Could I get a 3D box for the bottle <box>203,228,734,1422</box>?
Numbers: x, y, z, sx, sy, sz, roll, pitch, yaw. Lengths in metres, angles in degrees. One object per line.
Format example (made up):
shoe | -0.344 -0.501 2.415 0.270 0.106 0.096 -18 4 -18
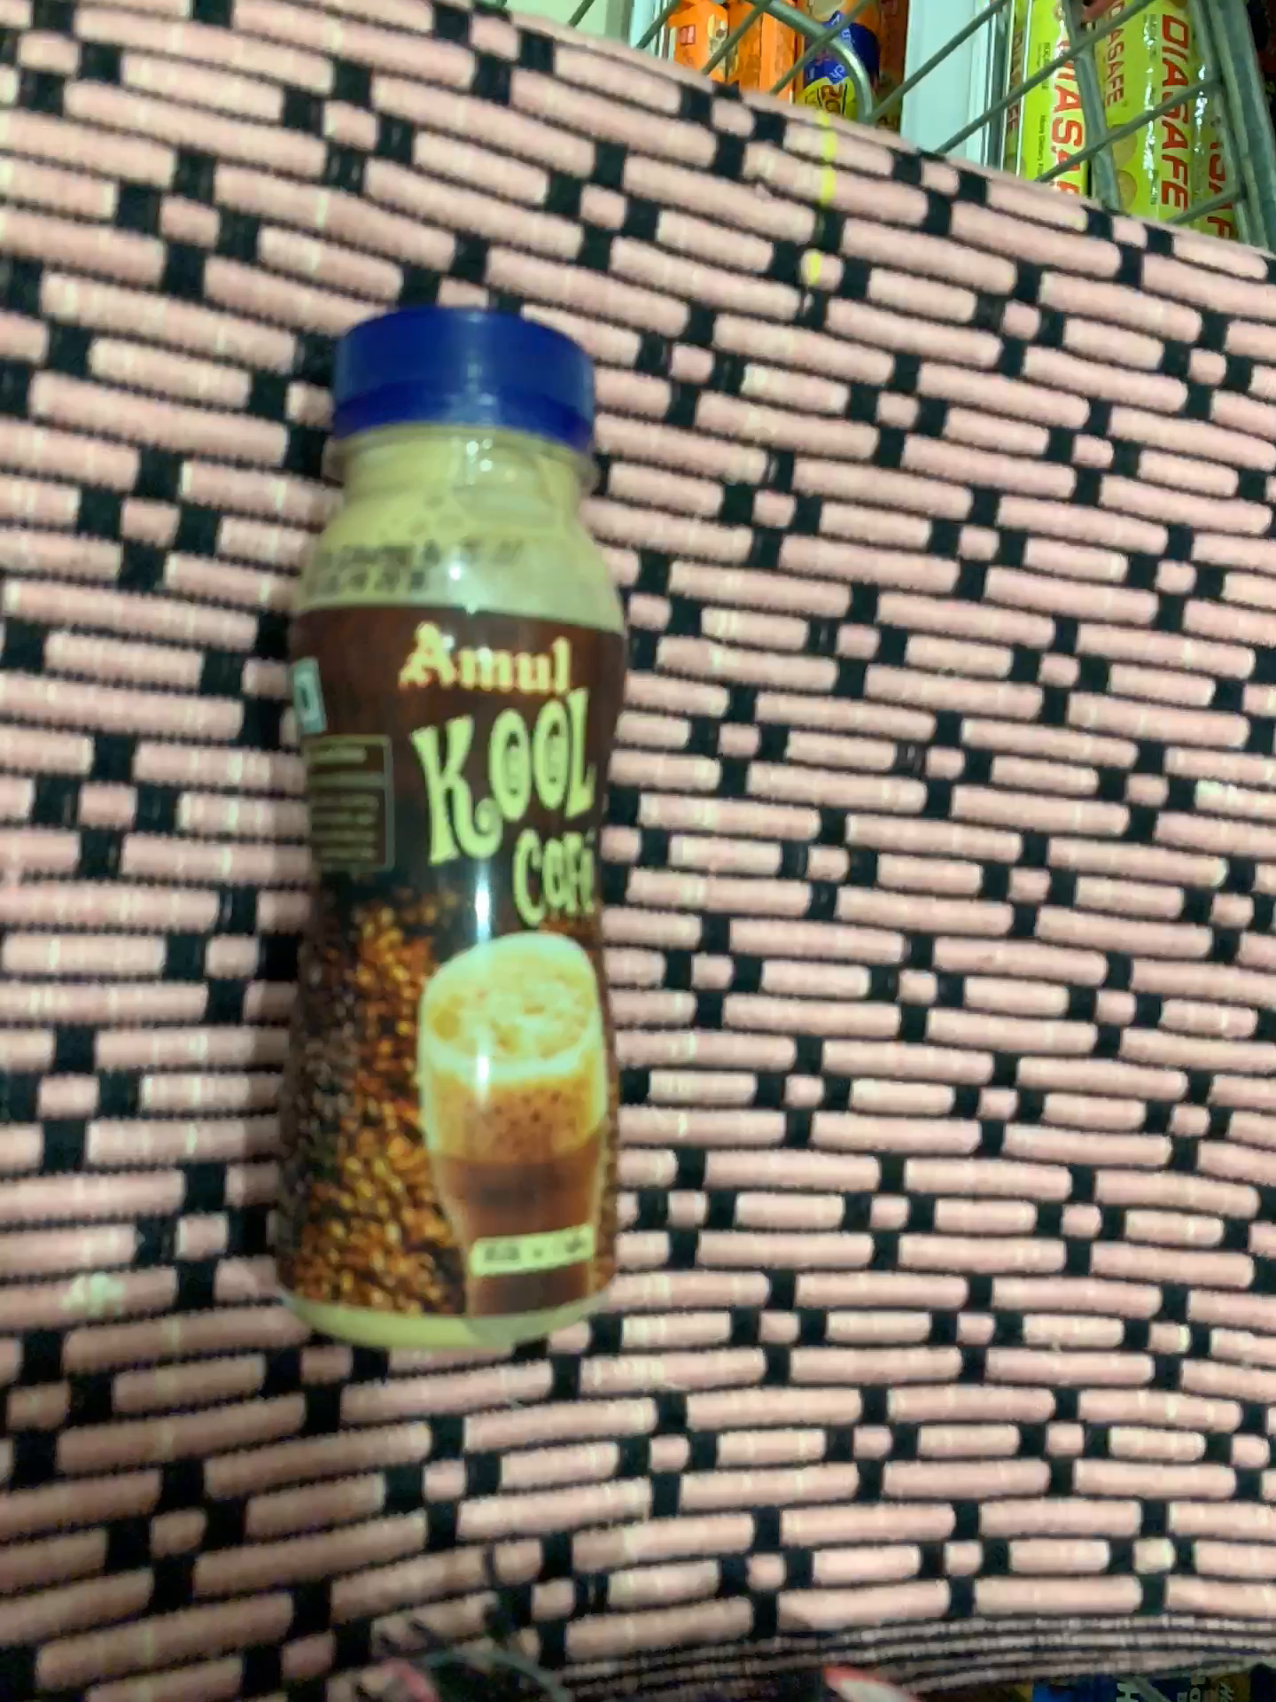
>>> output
bottle | -0.026 -0.003 0.189 0.060 0.050 0.140 1 85 -29
